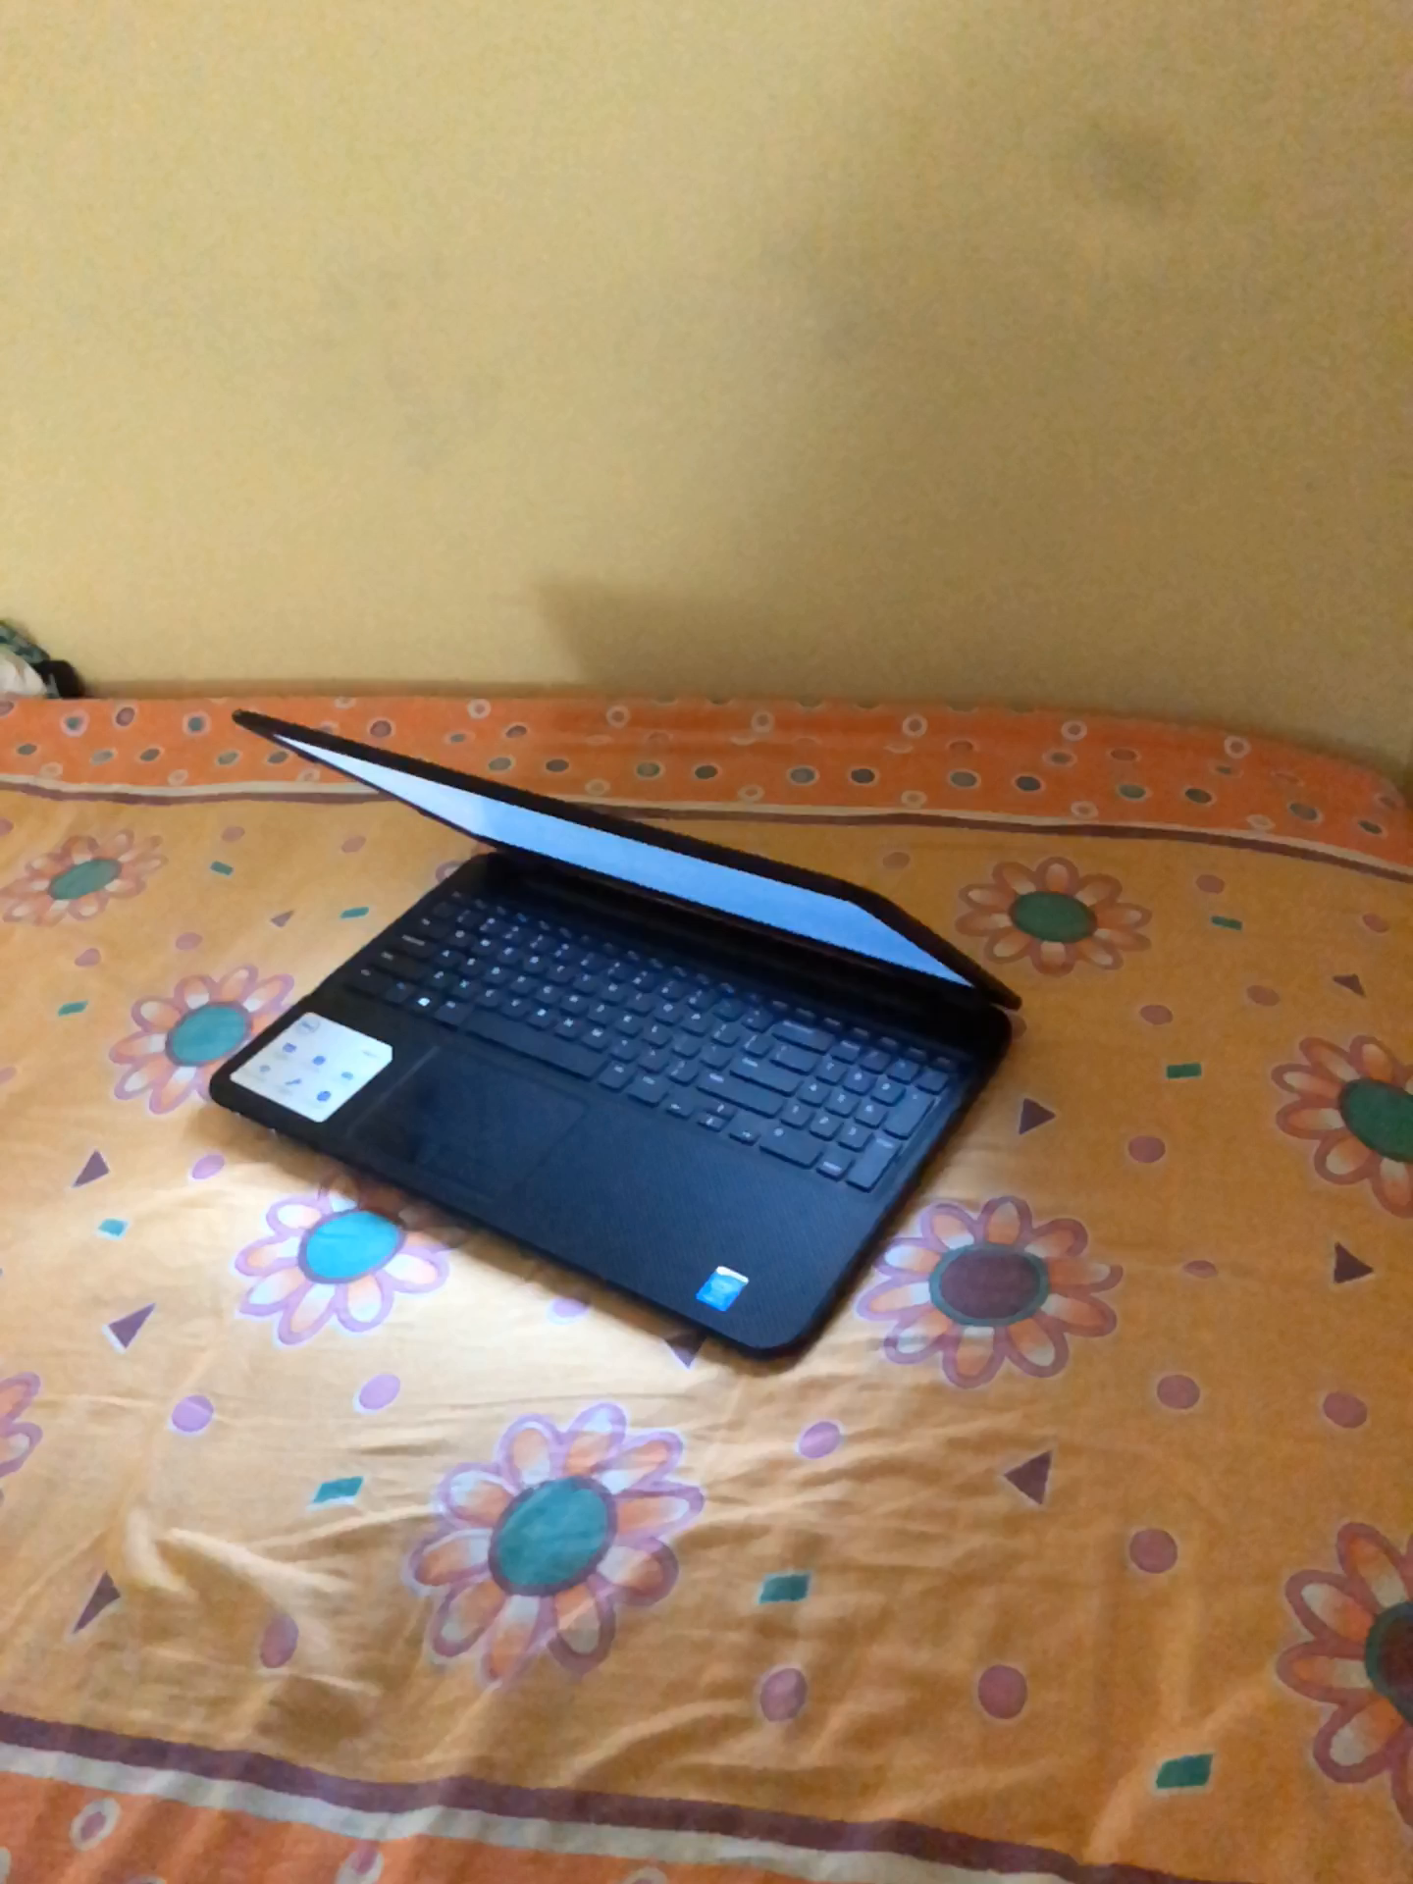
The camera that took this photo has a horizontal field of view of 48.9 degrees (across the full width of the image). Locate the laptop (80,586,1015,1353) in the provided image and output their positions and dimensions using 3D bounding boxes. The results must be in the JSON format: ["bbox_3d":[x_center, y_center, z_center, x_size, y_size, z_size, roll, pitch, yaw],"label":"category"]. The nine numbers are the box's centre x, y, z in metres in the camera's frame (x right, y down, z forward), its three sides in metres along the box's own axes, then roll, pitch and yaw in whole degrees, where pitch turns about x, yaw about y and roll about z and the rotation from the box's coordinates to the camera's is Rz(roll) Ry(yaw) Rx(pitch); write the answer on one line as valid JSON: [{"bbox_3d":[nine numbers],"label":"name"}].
[{"bbox_3d":[-0.067,-0.011,0.776,0.366,0.190,0.238,18,45,28],"label":"laptop"}]
